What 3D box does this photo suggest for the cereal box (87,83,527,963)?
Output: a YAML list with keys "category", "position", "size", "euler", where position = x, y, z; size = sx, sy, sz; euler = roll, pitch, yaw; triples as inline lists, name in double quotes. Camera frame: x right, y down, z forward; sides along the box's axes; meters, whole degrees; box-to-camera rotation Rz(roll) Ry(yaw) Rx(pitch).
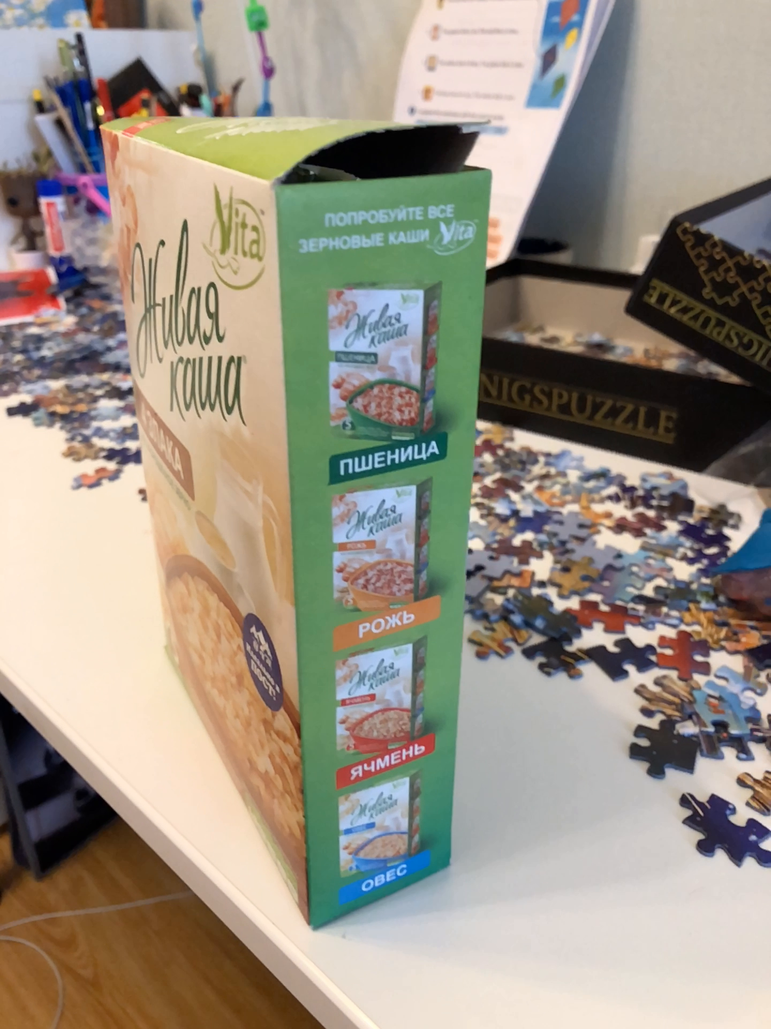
- category: "cereal box"
  position: [-0.030, -0.006, 0.249]
  size: [0.050, 0.209, 0.141]
  euler: [-14, 31, -25]
